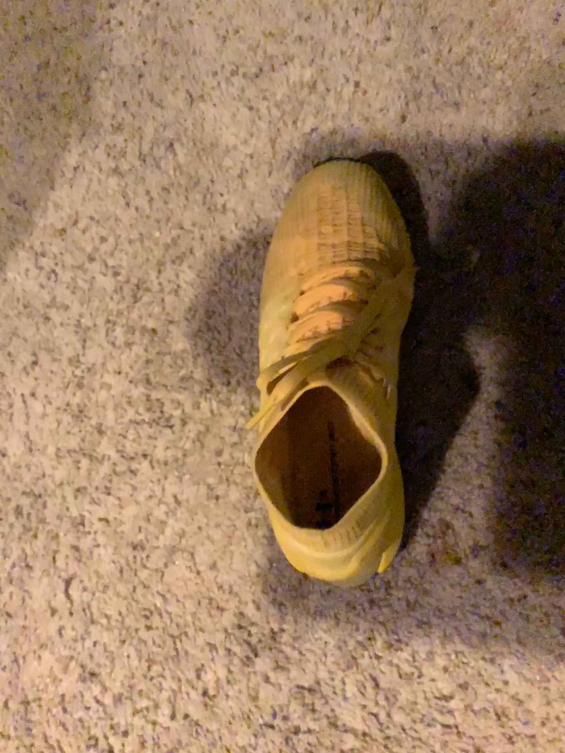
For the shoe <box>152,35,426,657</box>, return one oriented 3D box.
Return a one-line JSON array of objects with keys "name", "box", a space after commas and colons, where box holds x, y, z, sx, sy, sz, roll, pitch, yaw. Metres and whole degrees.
[{"name": "shoe", "box": [0.020, -0.017, 0.396, 0.130, 0.130, 0.320, 0, 79, 15]}]
